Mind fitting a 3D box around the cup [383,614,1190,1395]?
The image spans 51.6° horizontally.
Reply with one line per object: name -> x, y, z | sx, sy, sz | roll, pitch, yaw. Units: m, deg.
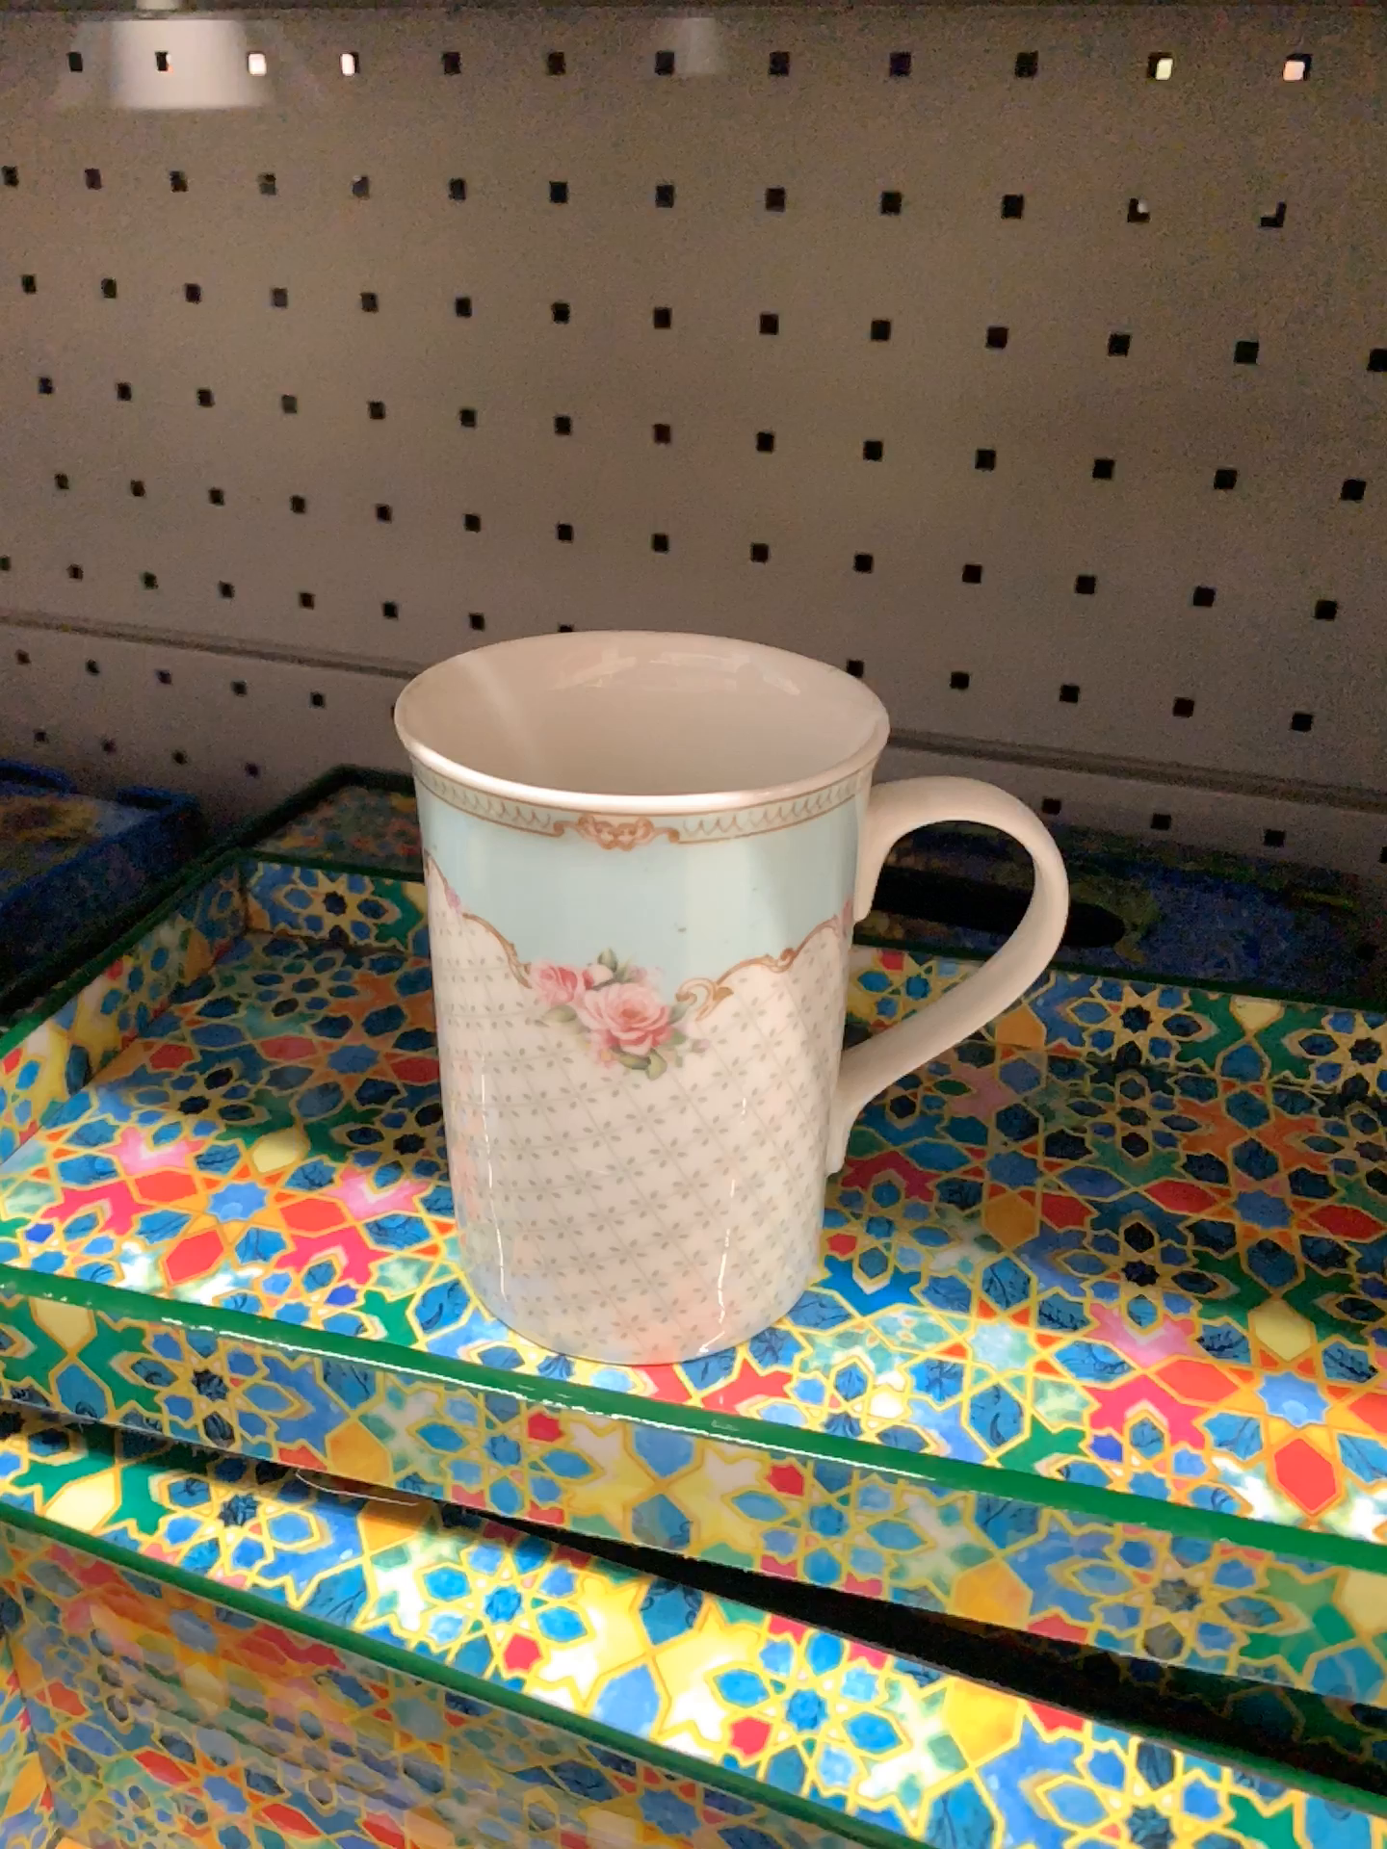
cup -> 0.007, 0.008, 0.248 | 0.110, 0.100, 0.080 | -4, 28, -10
